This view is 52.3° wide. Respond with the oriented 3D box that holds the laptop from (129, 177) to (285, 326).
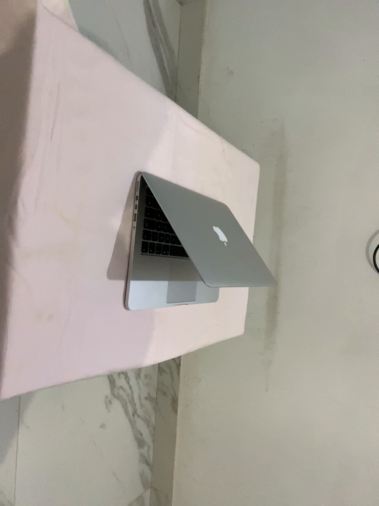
[{"bbox_3d":[0.051,0.001,0.701,0.298,0.138,0.208,7,90,-60],"label":"laptop"}]
